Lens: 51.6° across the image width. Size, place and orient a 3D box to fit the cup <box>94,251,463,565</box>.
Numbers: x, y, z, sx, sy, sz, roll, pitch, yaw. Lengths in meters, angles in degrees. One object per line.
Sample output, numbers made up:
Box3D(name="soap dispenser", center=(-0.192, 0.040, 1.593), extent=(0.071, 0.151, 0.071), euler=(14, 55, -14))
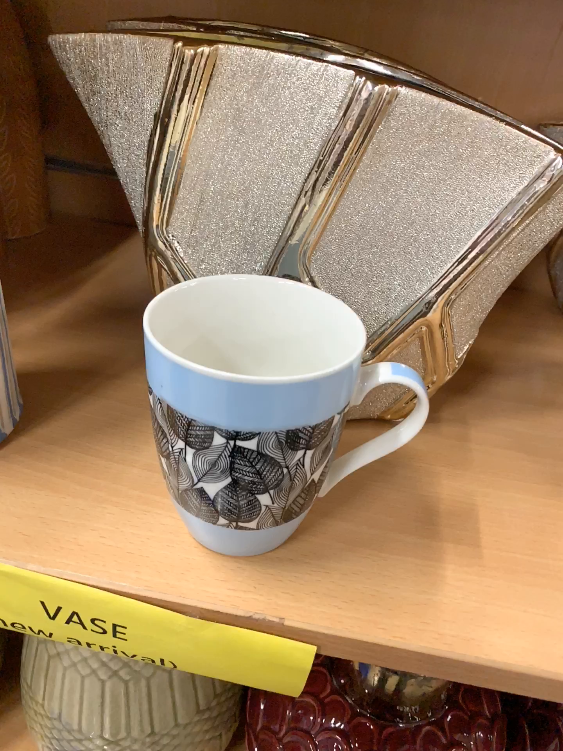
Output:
Box3D(name="cup", center=(-0.007, 0.011, 0.229), extent=(0.110, 0.090, 0.080), euler=(2, 30, -8))
